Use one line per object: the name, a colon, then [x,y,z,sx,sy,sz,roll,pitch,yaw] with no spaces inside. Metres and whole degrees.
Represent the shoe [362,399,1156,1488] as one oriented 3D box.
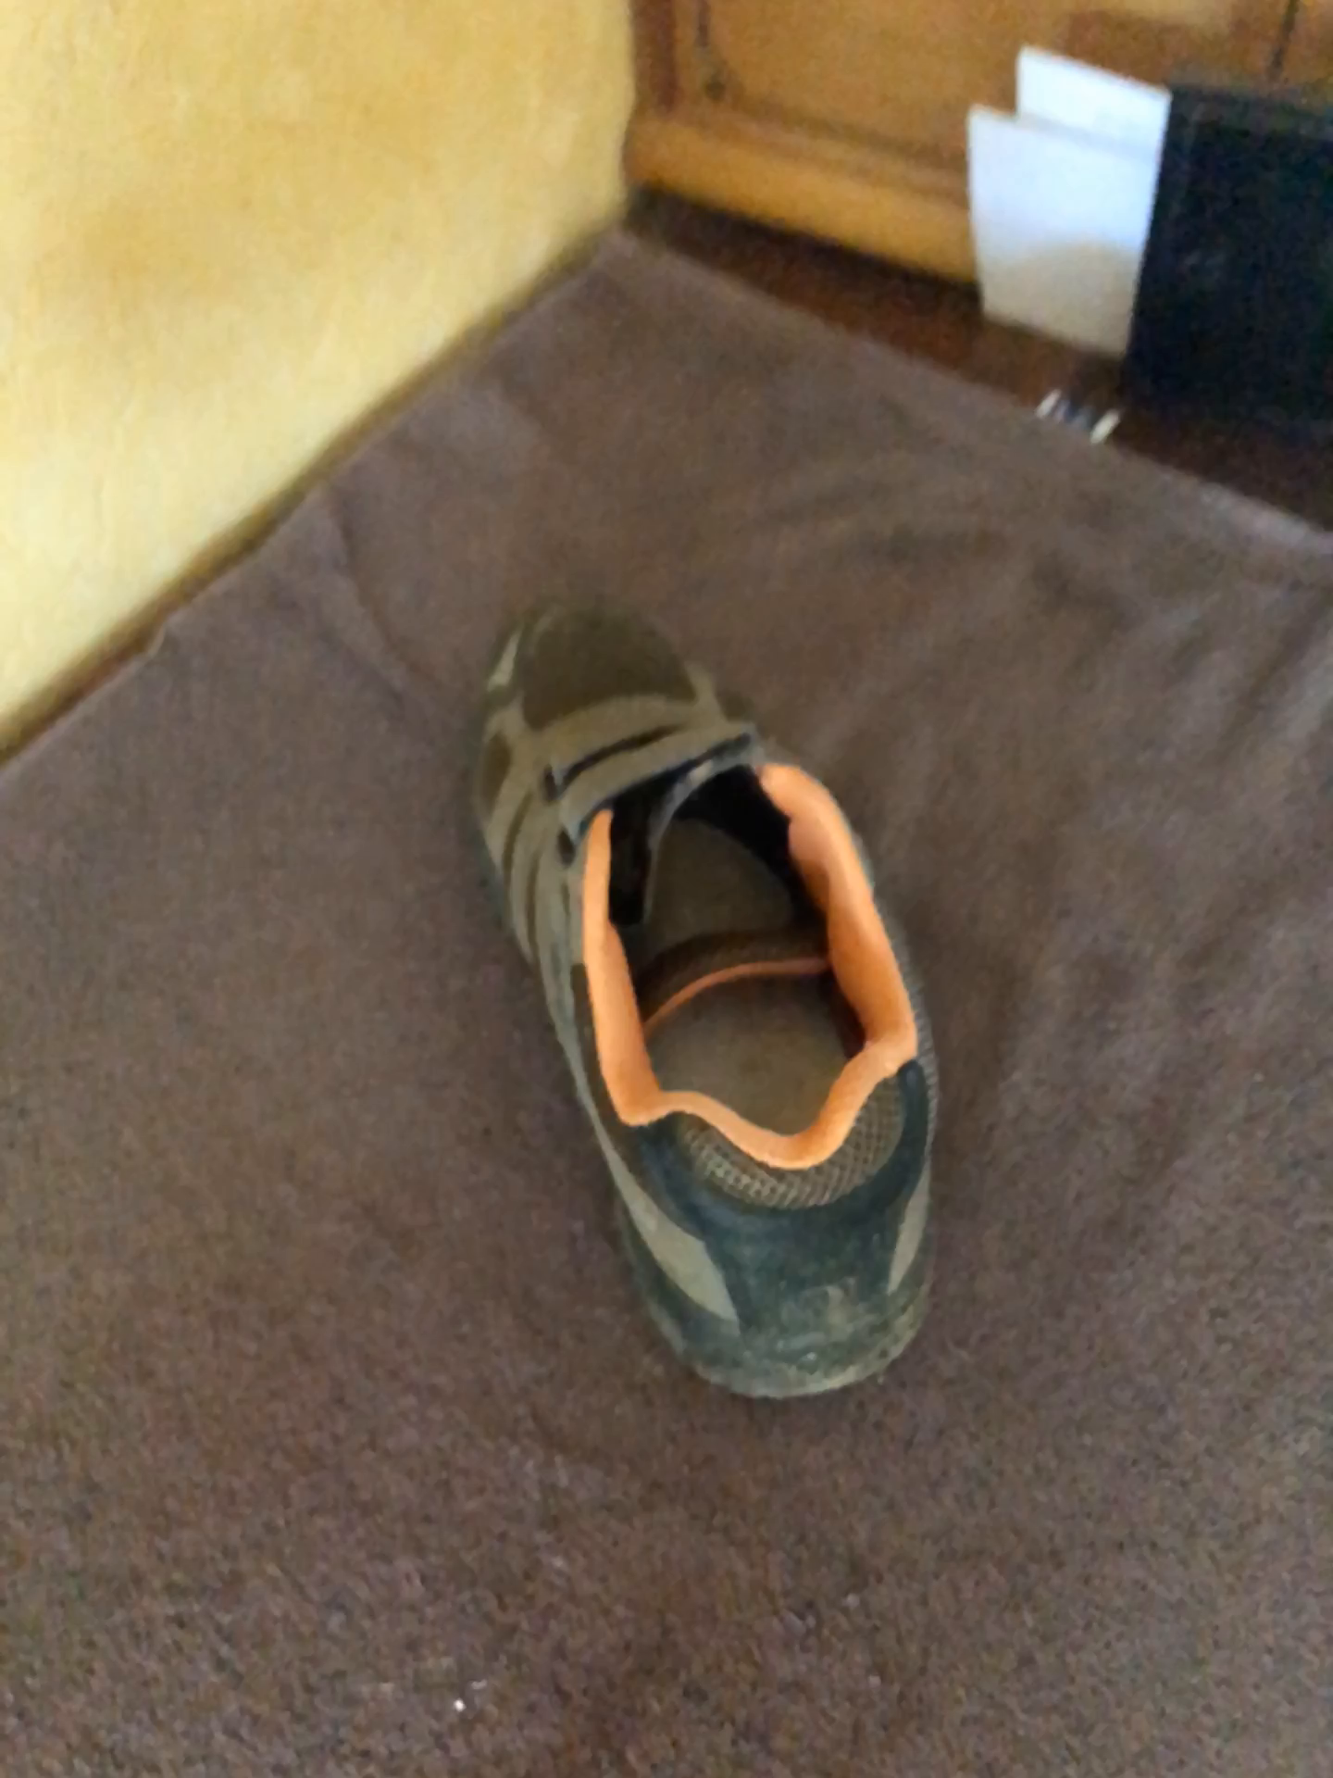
shoe: [0.007,-0.002,0.408,0.110,0.099,0.271,-16,55,-8]
